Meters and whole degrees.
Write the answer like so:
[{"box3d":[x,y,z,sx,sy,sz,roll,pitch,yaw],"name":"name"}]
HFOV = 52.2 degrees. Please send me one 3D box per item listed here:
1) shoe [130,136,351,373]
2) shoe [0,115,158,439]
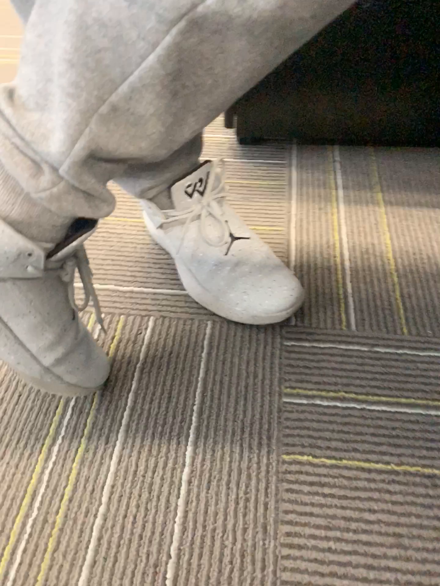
[{"box3d":[0.014,-0.063,0.613,0.130,0.149,0.281,-29,56,-20],"name":"shoe"},{"box3d":[-0.191,0.000,0.436,0.120,0.279,0.121,-28,37,7],"name":"shoe"}]
